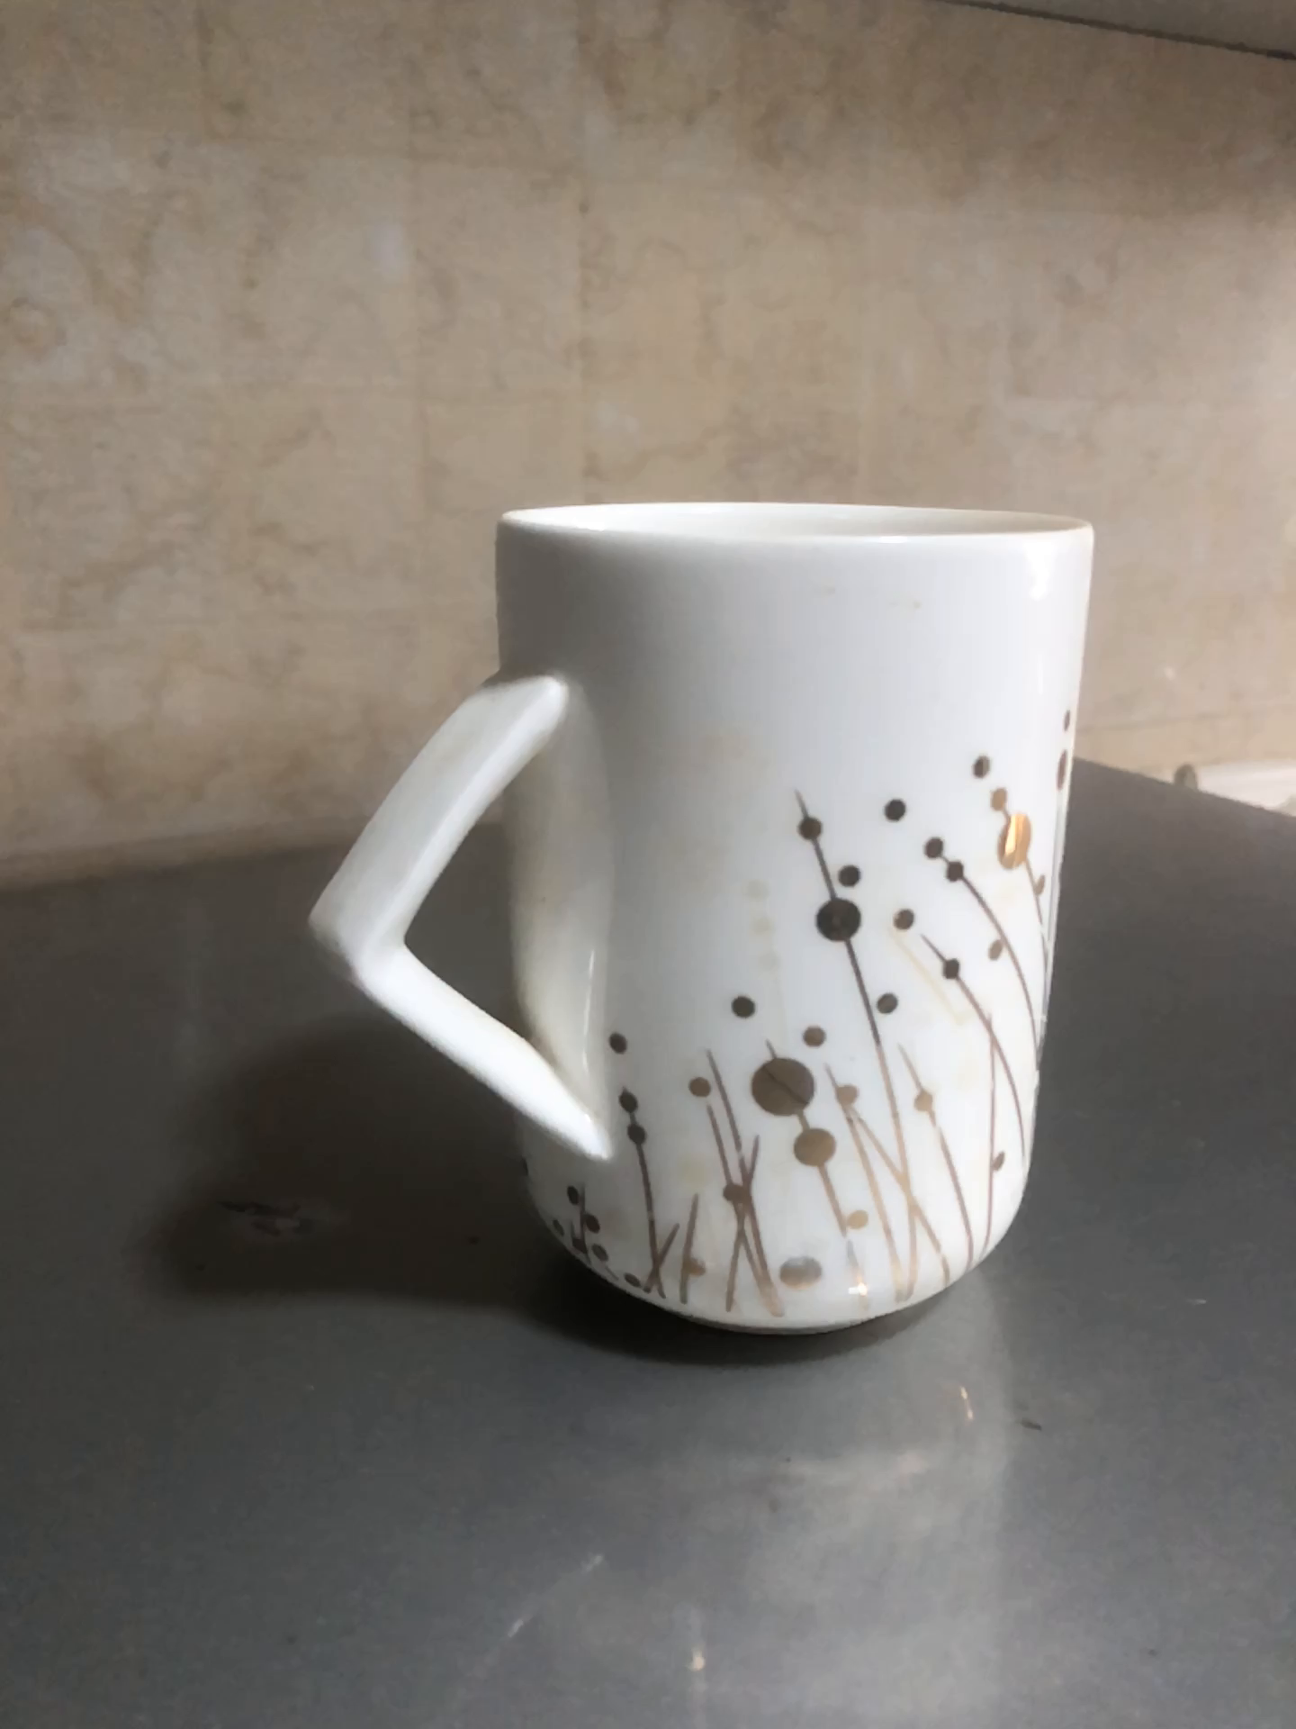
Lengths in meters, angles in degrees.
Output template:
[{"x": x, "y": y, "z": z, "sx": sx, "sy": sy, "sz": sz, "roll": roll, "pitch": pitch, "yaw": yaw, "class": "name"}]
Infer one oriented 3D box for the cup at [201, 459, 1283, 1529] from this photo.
[{"x": 0.014, "y": -0.001, "z": 0.193, "sx": 0.110, "sy": 0.100, "sz": 0.080, "roll": -14, "pitch": 21, "yaw": -40, "class": "cup"}]
